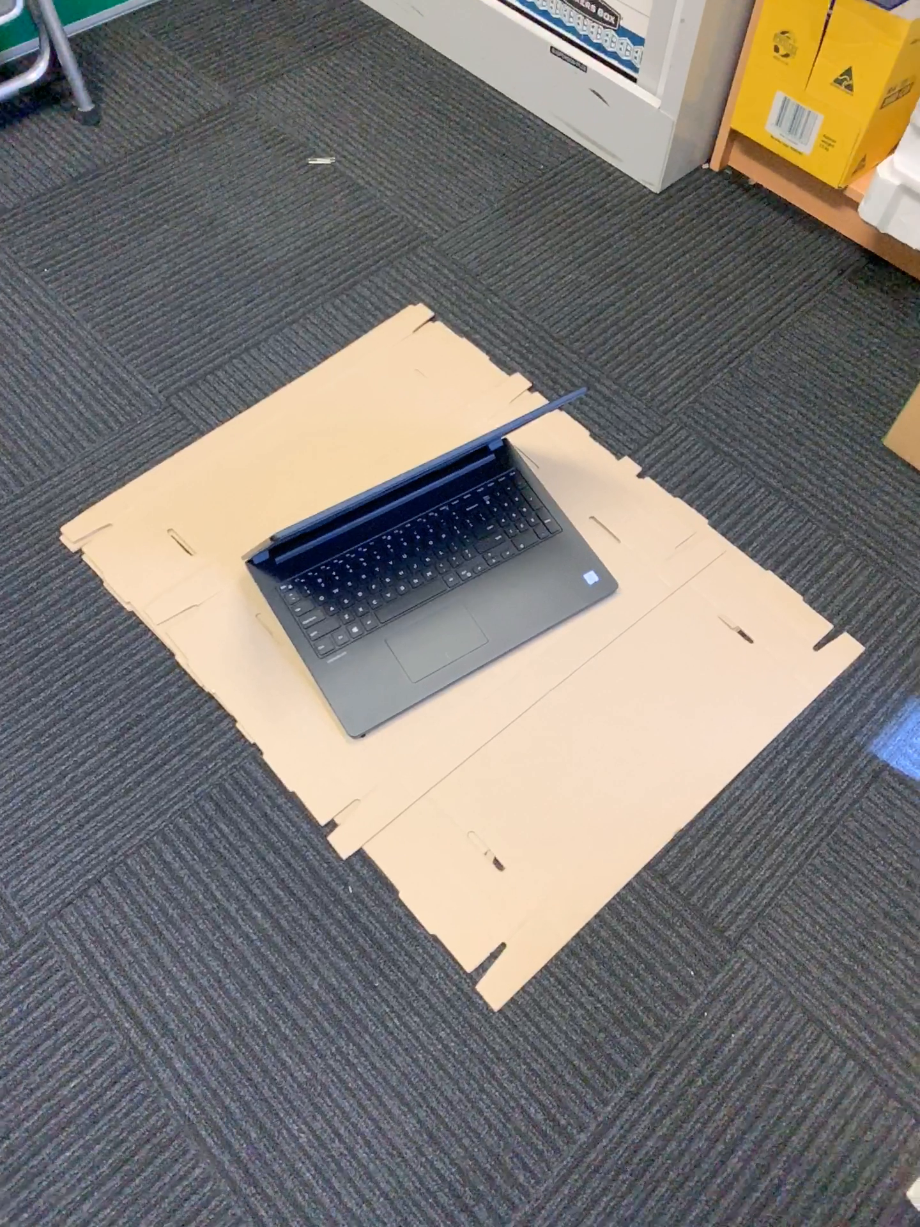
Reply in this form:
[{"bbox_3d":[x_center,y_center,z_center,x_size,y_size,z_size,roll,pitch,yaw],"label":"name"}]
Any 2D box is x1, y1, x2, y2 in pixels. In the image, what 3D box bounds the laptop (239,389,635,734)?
[{"bbox_3d":[-0.023,-0.065,0.988,0.341,0.085,0.221,-28,68,-17],"label":"laptop"}]
